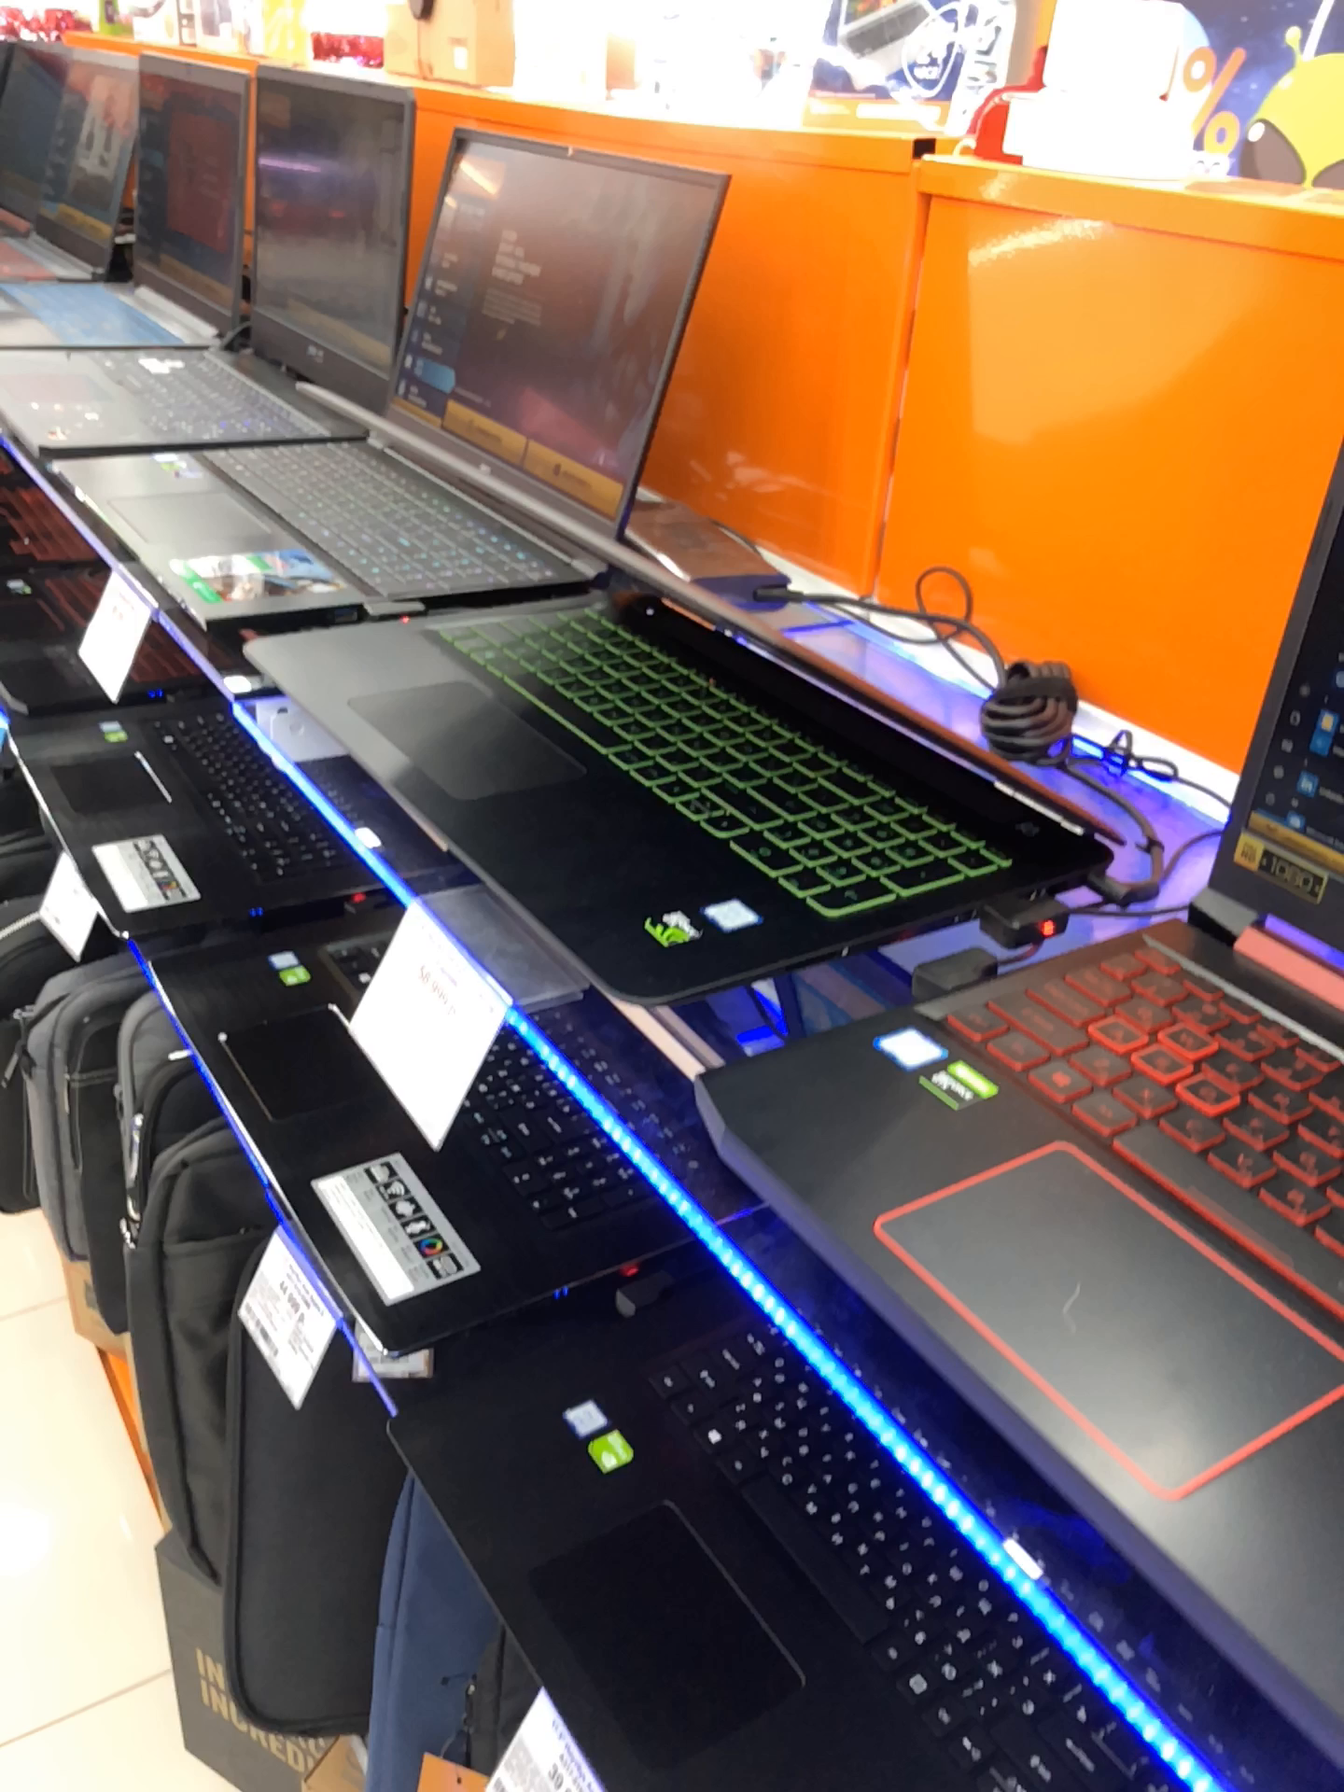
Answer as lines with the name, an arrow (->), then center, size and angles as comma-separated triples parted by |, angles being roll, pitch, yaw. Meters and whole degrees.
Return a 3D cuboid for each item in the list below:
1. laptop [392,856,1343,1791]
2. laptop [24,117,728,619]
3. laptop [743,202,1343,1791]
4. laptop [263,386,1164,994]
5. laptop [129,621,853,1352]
laptop -> 0.102, 0.194, 0.575 | 0.275, 0.255, 0.398 | -12, 31, -31
laptop -> -0.198, -0.352, 0.941 | 0.303, 0.219, 0.341 | -14, 34, -30
laptop -> 0.244, 0.008, 0.317 | 0.253, 0.245, 0.410 | -17, 35, -34
laptop -> -0.010, -0.126, 0.663 | 0.227, 0.118, 0.370 | -14, 33, -30
laptop -> -0.134, 0.015, 0.909 | 0.262, 0.217, 0.413 | -13, 33, -30
